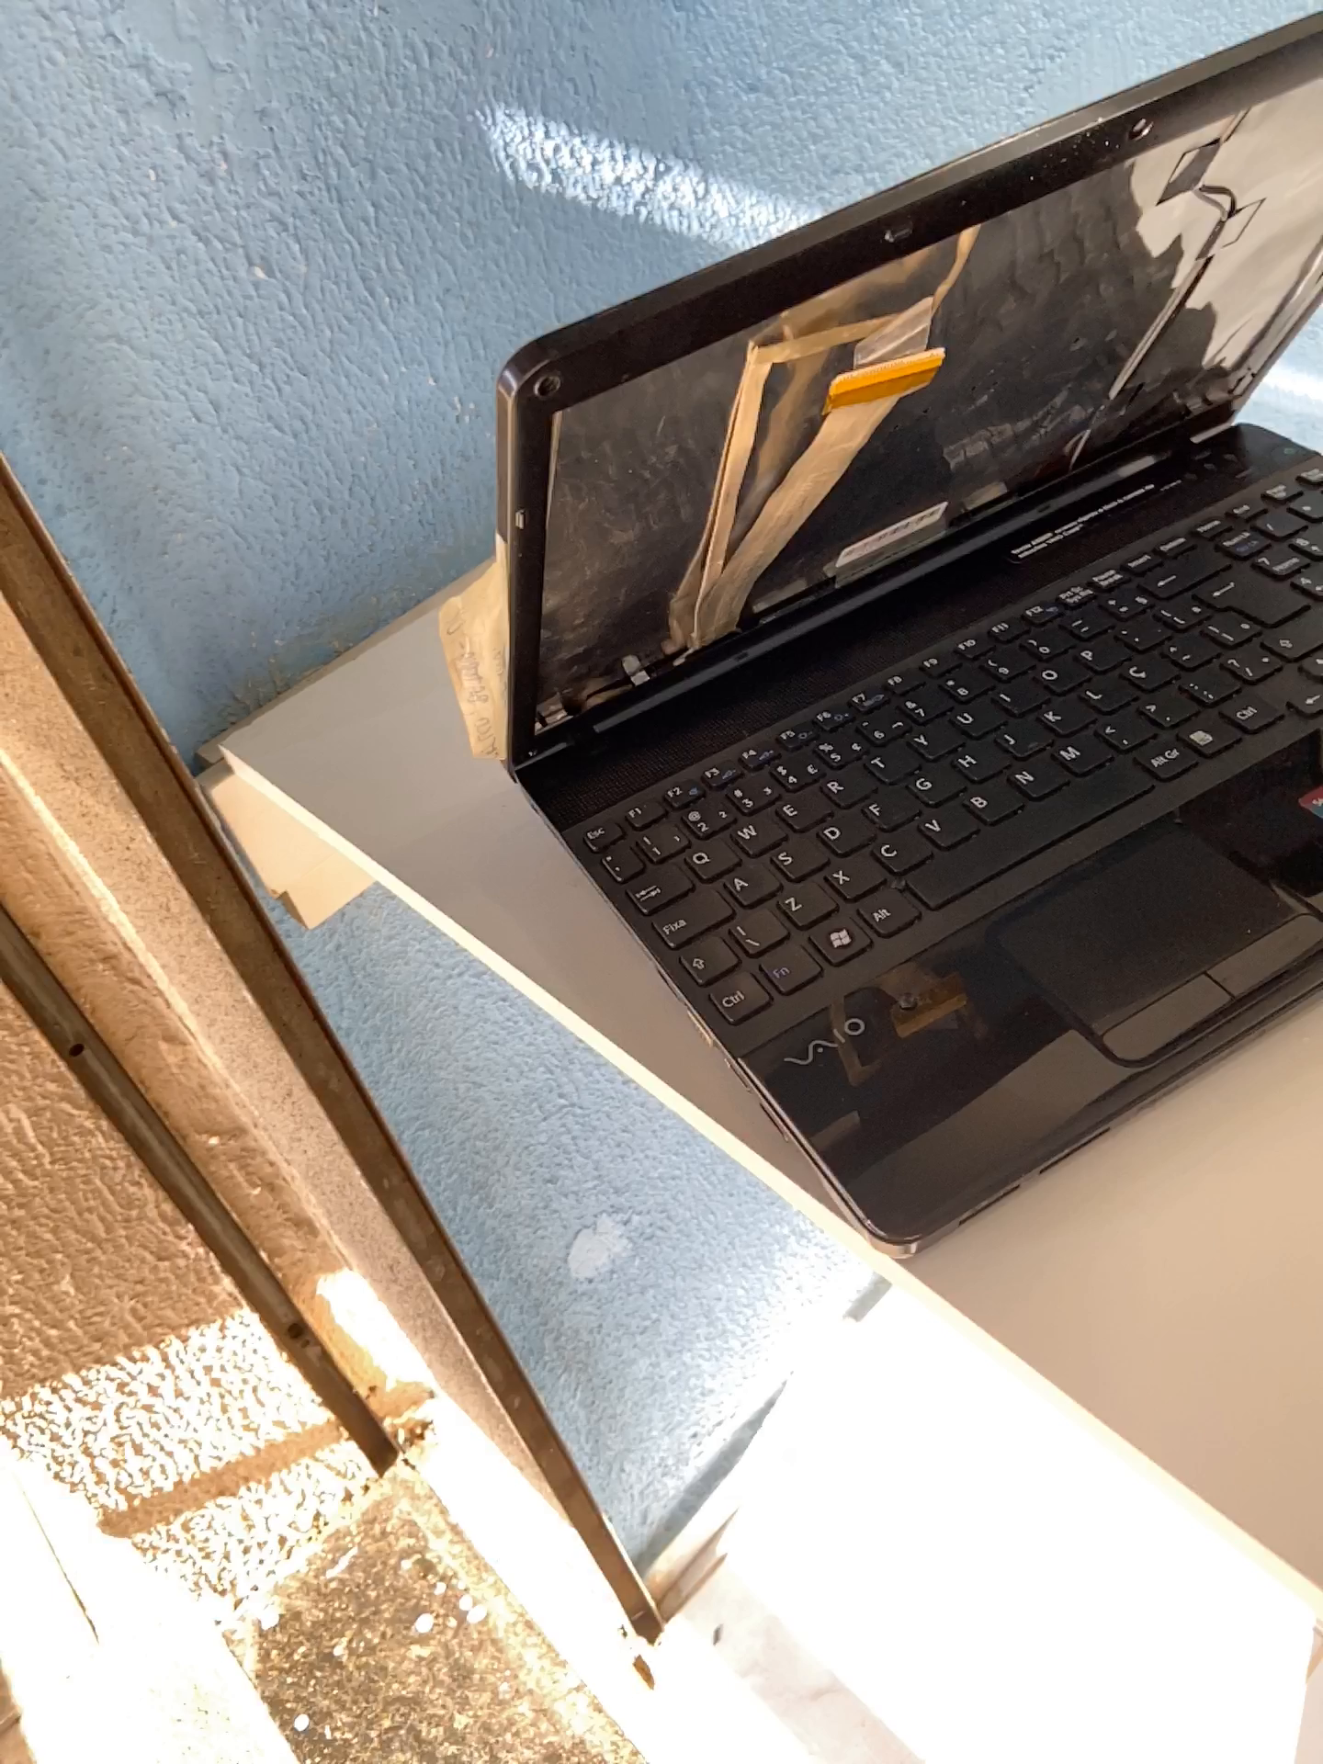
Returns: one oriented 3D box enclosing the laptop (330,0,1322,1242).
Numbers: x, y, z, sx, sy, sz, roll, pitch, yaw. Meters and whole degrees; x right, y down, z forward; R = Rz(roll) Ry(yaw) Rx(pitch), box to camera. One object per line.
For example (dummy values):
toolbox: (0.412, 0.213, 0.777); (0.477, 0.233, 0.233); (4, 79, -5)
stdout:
laptop: (0.138, -0.127, 0.416); (0.364, 0.193, 0.243); (-28, 44, -13)
